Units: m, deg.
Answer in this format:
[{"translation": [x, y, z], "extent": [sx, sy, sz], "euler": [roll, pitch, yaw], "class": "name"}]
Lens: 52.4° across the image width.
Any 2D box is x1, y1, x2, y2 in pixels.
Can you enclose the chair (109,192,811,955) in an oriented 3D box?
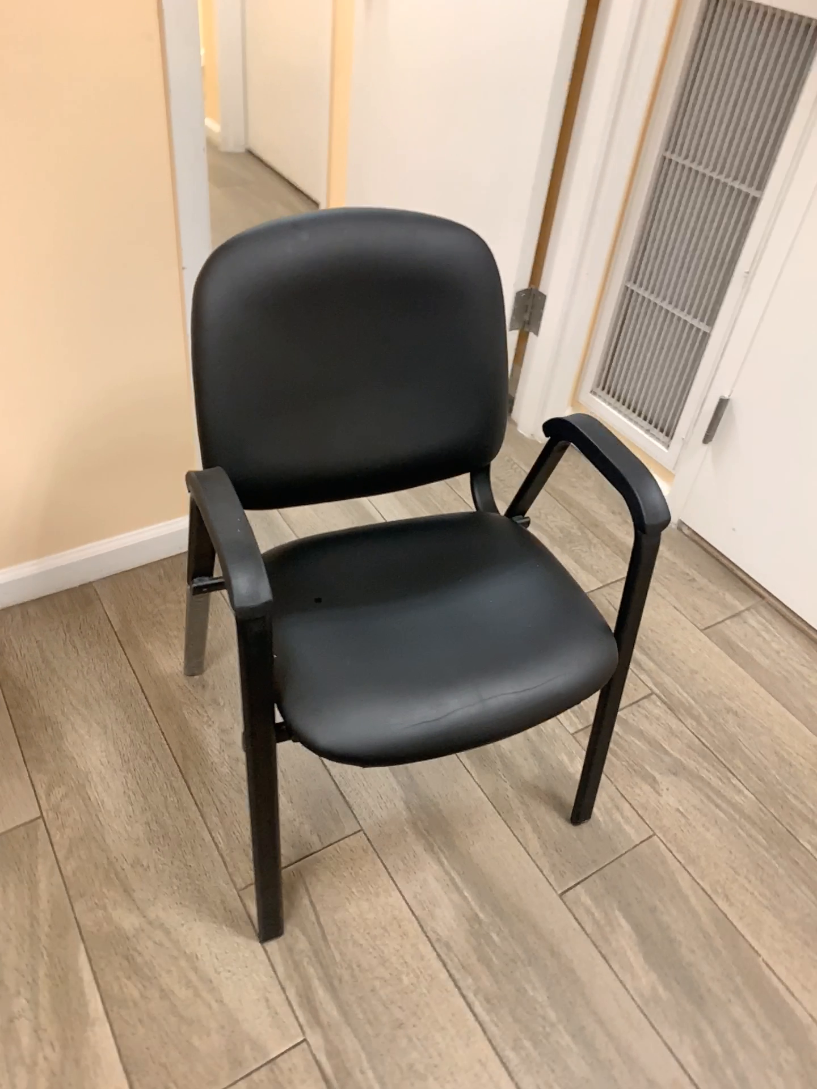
[{"translation": [-0.023, 0.023, 1.211], "extent": [0.606, 0.817, 0.608], "euler": [-11, 44, -20], "class": "chair"}]
